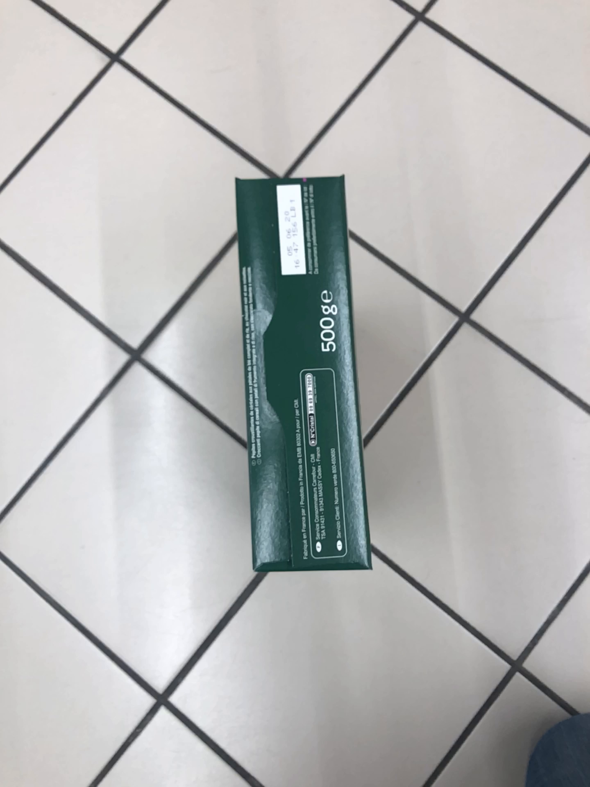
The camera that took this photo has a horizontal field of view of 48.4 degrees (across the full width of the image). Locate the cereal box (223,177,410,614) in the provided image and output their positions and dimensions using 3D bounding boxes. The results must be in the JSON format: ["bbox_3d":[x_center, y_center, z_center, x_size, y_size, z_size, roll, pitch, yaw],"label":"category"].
[{"bbox_3d":[0.010,0.014,0.425,0.080,0.250,0.200,-1,82,1],"label":"cereal box"}]
